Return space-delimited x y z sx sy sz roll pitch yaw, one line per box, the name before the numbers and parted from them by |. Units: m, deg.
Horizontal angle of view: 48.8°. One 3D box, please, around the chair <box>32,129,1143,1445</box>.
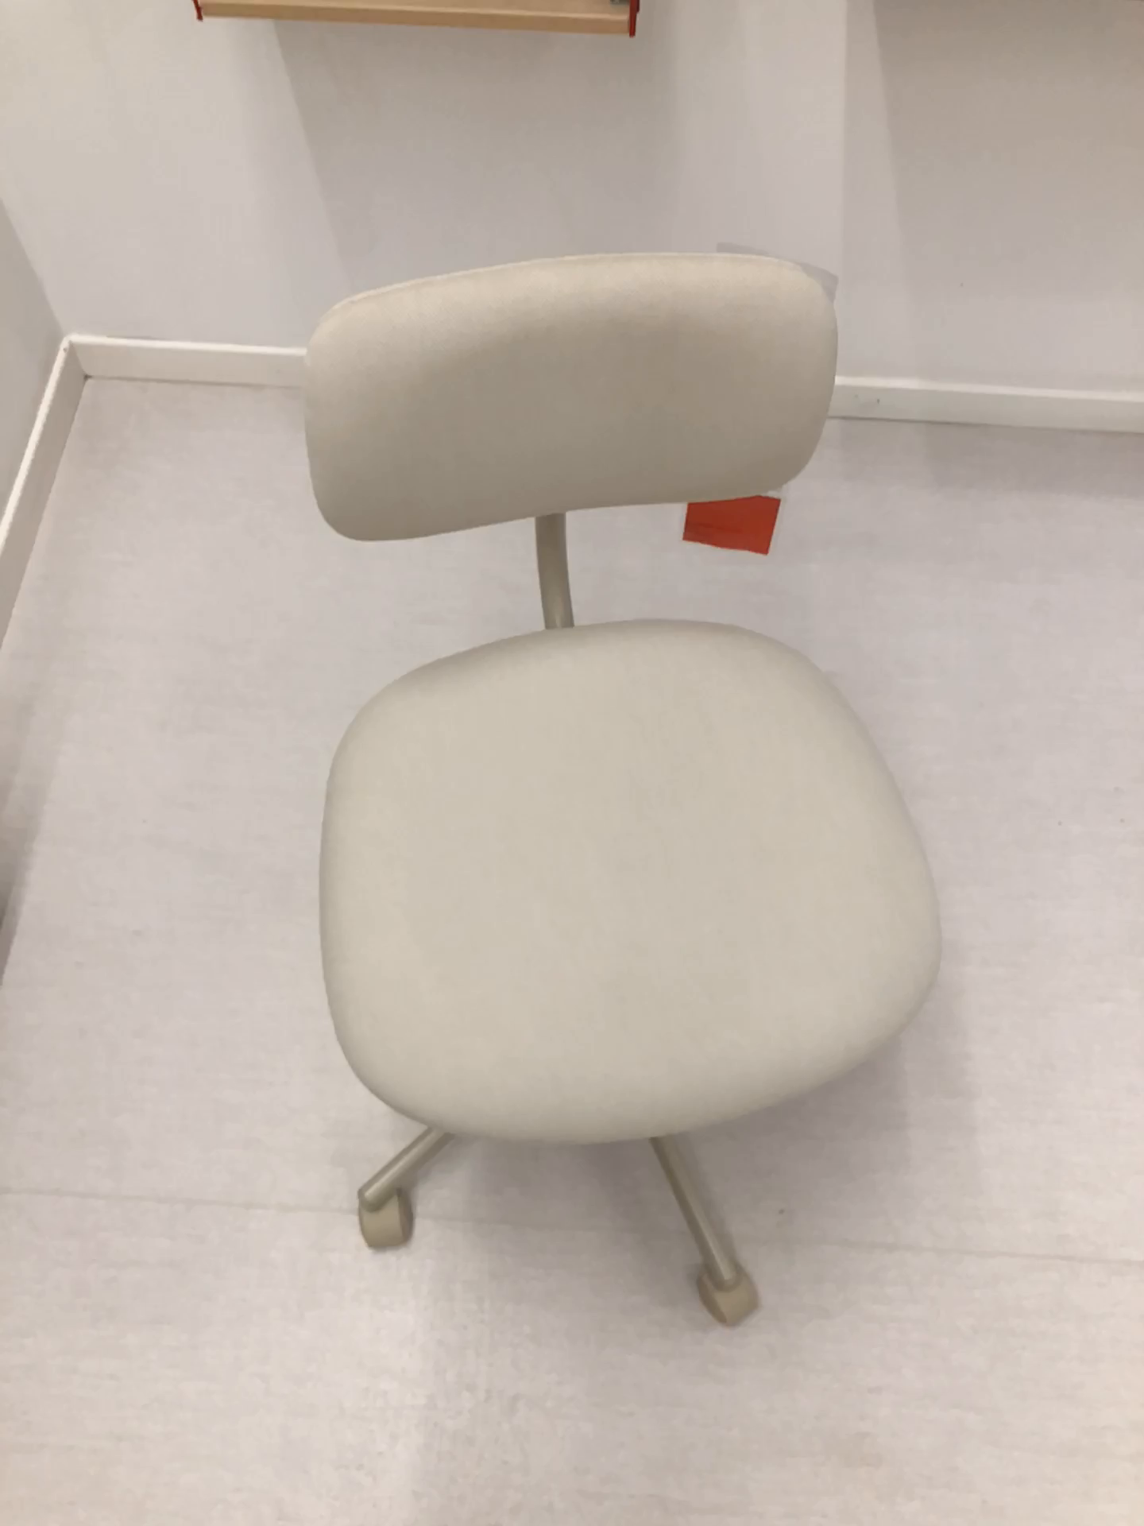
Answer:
chair | 0.041 0.091 1.022 0.640 0.767 0.693 -9 63 -5
